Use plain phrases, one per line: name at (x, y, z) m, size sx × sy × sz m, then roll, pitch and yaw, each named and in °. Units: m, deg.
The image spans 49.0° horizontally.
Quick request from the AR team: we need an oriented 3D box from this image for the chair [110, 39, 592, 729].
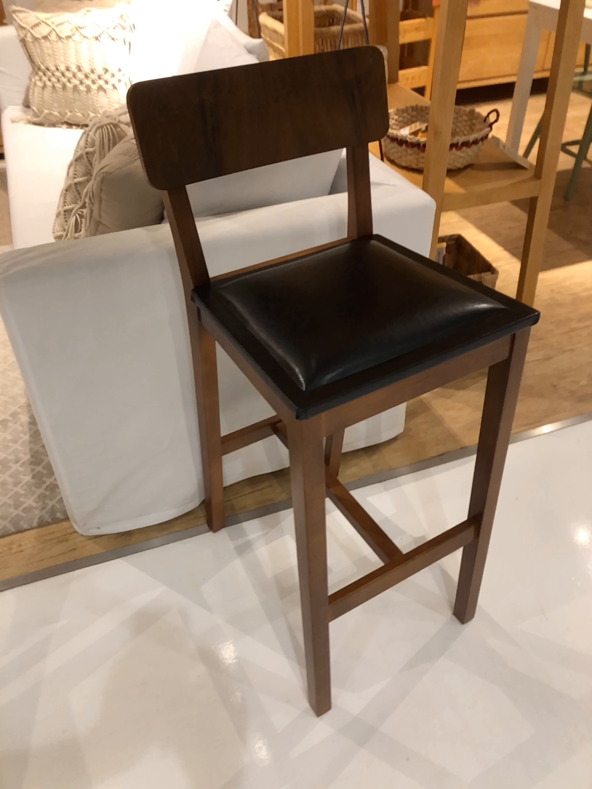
chair at (0.074, 0.012, 1.145) m, size 0.441 × 1.003 × 0.533 m, roll -22°, pitch 44°, yaw -23°
